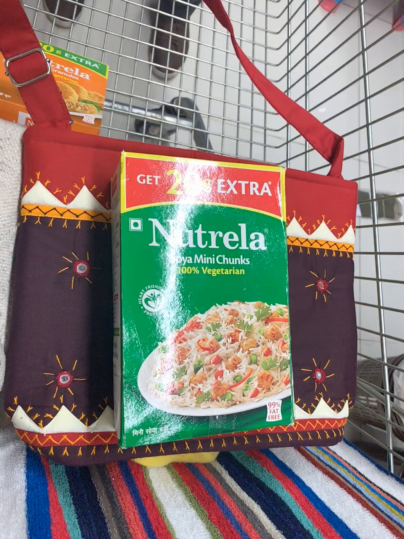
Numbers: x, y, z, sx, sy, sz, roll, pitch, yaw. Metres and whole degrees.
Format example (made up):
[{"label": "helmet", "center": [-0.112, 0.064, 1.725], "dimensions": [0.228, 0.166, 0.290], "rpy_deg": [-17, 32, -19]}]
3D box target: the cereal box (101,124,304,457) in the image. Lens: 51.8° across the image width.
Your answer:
[{"label": "cereal box", "center": [-0.003, 0.011, 0.282], "dimensions": [0.120, 0.050, 0.190], "rpy_deg": [0, 84, -20]}]
